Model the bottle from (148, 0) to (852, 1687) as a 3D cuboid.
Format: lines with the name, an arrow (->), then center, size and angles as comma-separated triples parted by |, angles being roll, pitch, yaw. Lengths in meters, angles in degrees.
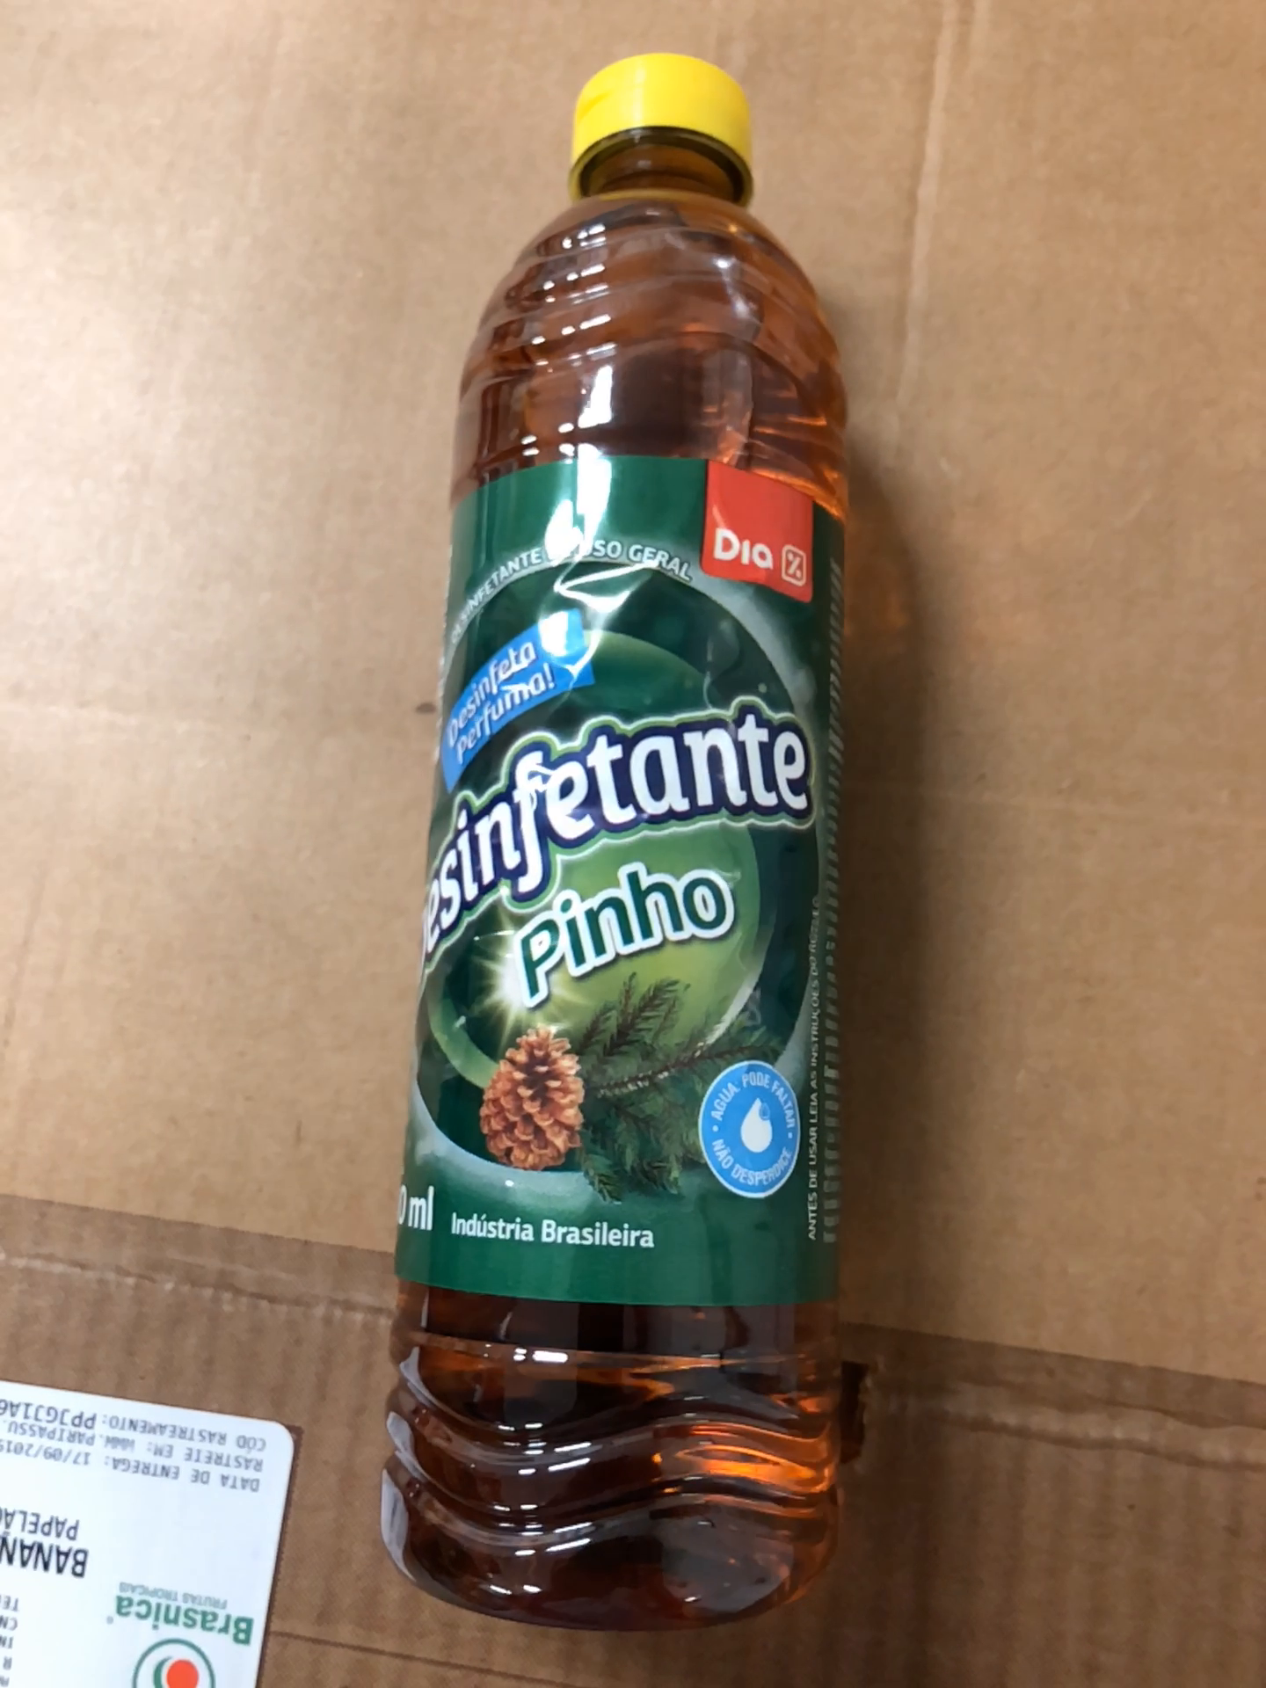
bottle -> -0.006, -0.011, 0.198 | 0.060, 0.070, 0.220 | -3, 74, 19
